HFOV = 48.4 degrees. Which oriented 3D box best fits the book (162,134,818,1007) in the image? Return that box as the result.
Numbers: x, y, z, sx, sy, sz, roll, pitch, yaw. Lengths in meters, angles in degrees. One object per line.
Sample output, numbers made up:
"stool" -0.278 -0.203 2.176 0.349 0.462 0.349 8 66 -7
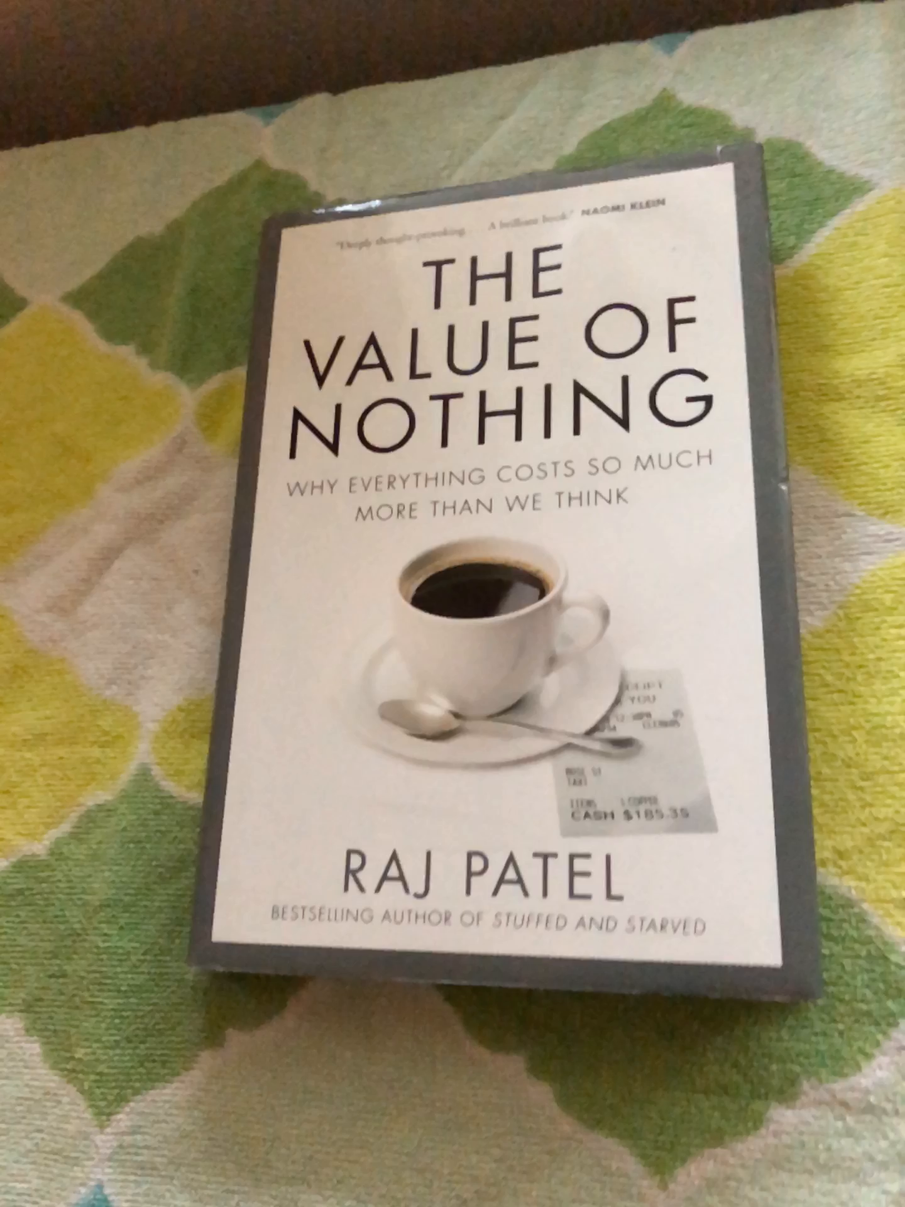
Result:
"book" 0.010 -0.014 0.255 0.140 0.030 0.206 -3 71 15
